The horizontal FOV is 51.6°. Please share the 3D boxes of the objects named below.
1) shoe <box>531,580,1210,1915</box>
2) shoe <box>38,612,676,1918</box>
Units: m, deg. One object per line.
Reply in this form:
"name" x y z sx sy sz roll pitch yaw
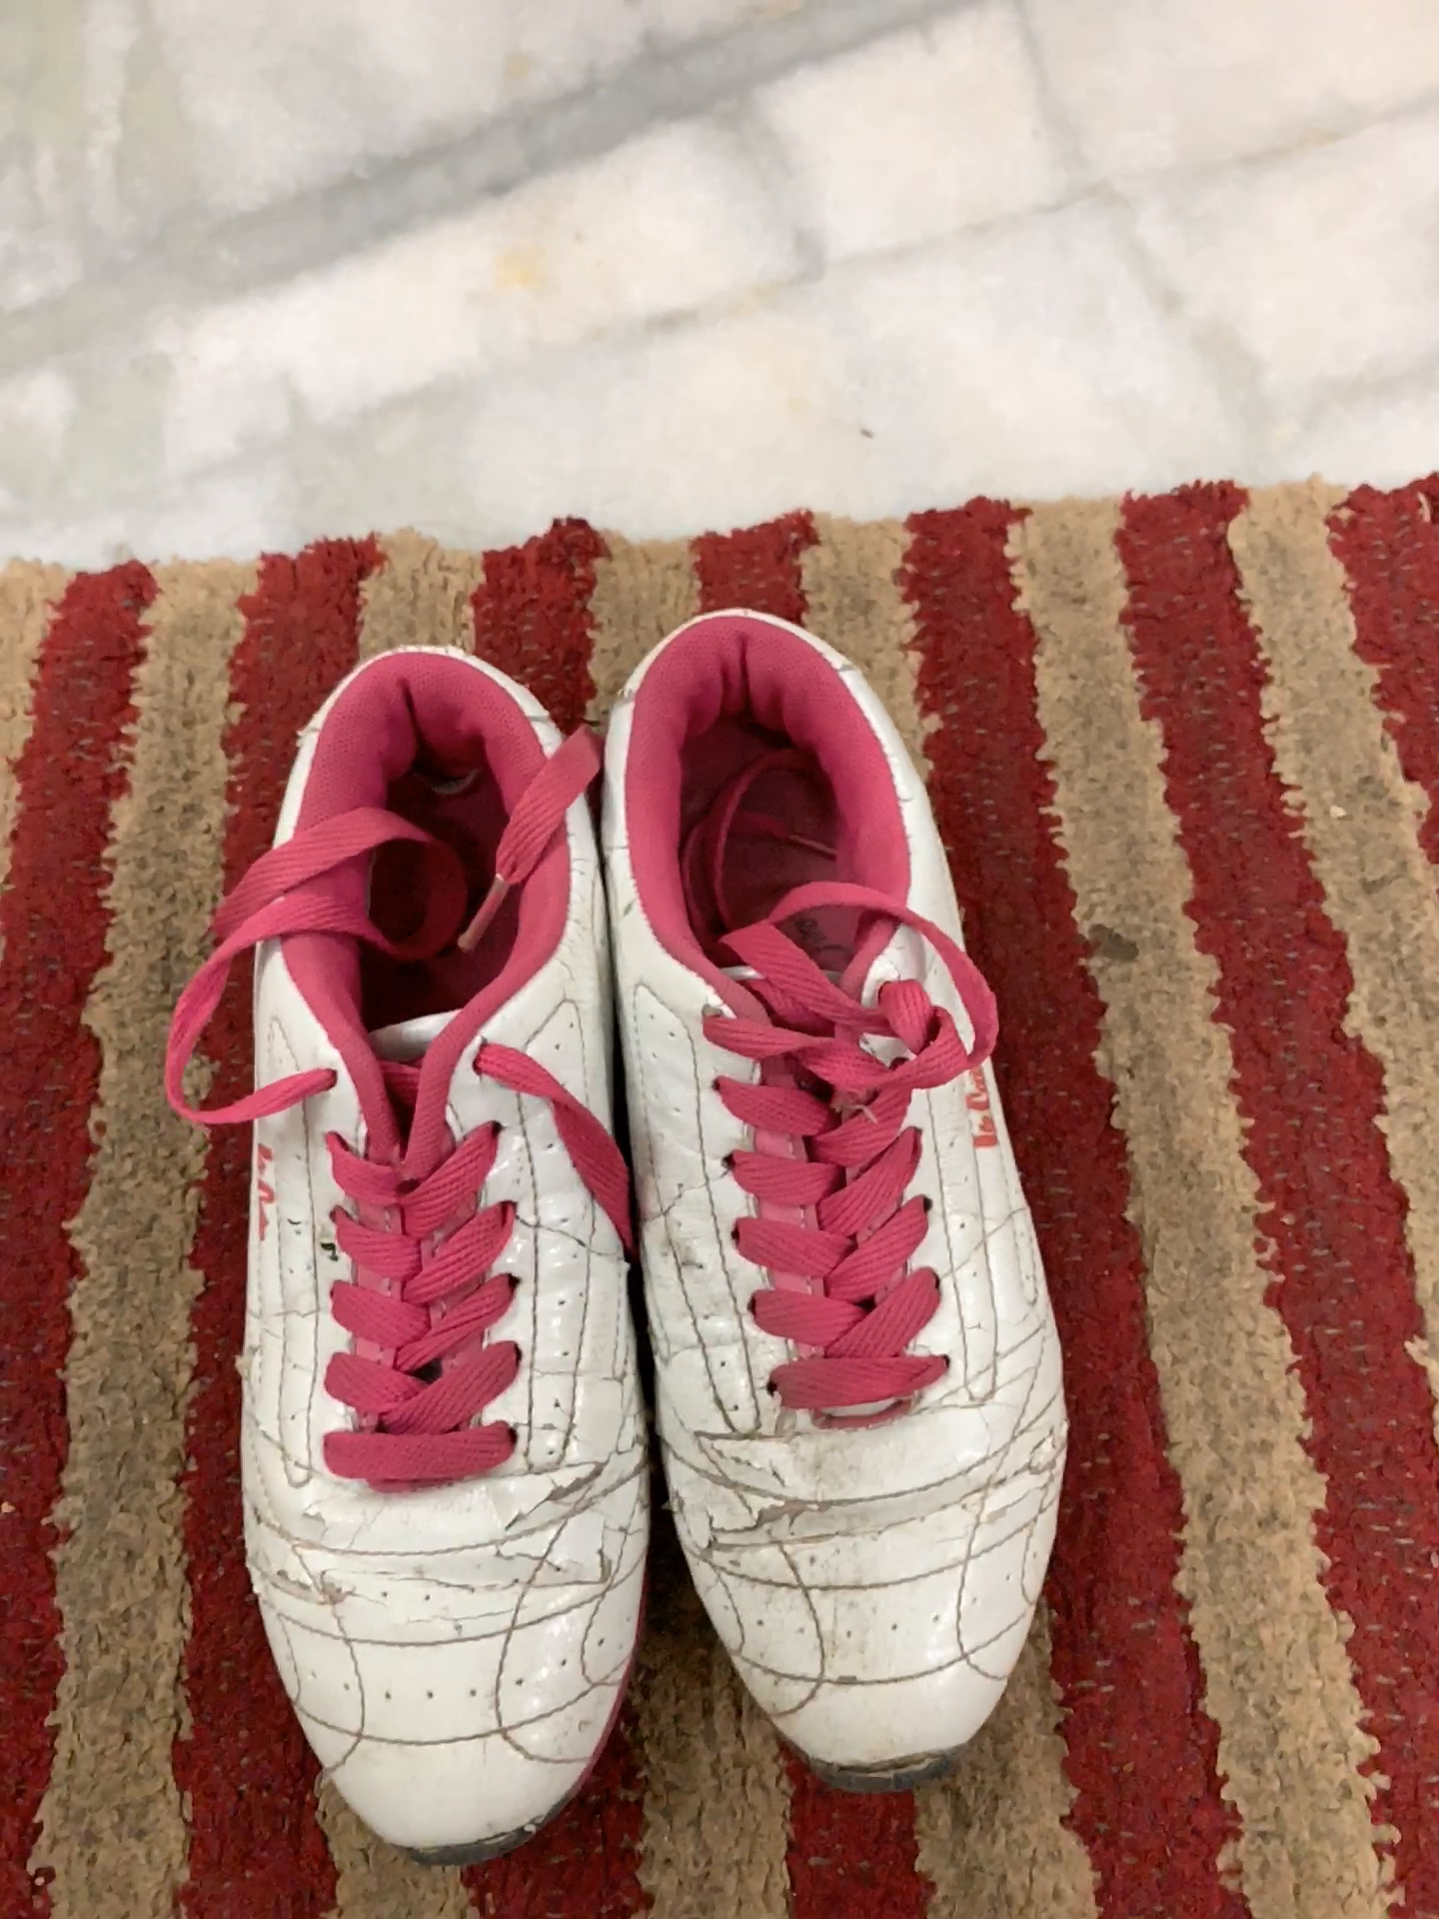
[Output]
"shoe" 0.020 0.052 0.324 0.100 0.100 0.241 -5 69 0
"shoe" -0.065 0.061 0.314 0.090 0.100 0.241 -5 69 0
